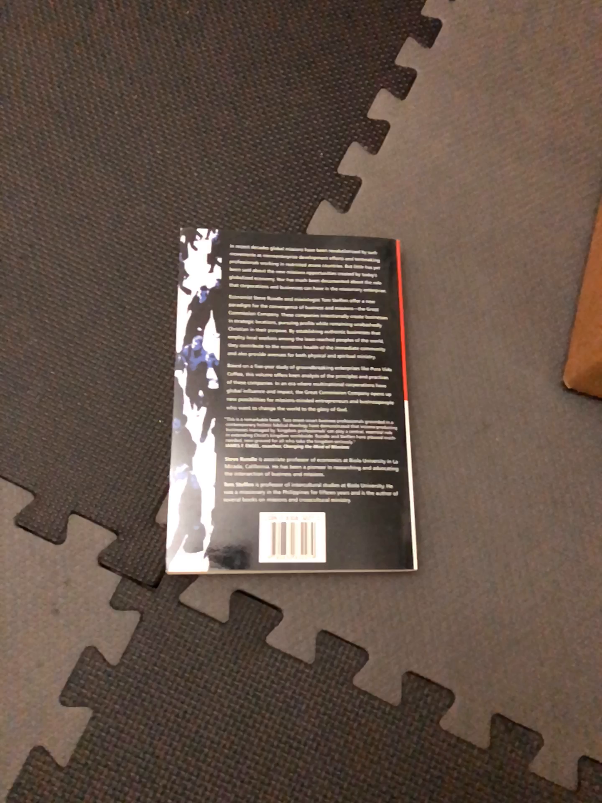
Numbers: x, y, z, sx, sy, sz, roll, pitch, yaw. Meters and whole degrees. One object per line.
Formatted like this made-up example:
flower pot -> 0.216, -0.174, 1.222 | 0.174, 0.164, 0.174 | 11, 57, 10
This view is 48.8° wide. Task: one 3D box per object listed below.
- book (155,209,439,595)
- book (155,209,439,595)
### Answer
book -> -0.003, -0.006, 0.394 | 0.150, 0.020, 0.230 | 1, 73, -5
book -> -0.003, -0.006, 0.394 | 0.150, 0.020, 0.230 | 1, 73, -5
